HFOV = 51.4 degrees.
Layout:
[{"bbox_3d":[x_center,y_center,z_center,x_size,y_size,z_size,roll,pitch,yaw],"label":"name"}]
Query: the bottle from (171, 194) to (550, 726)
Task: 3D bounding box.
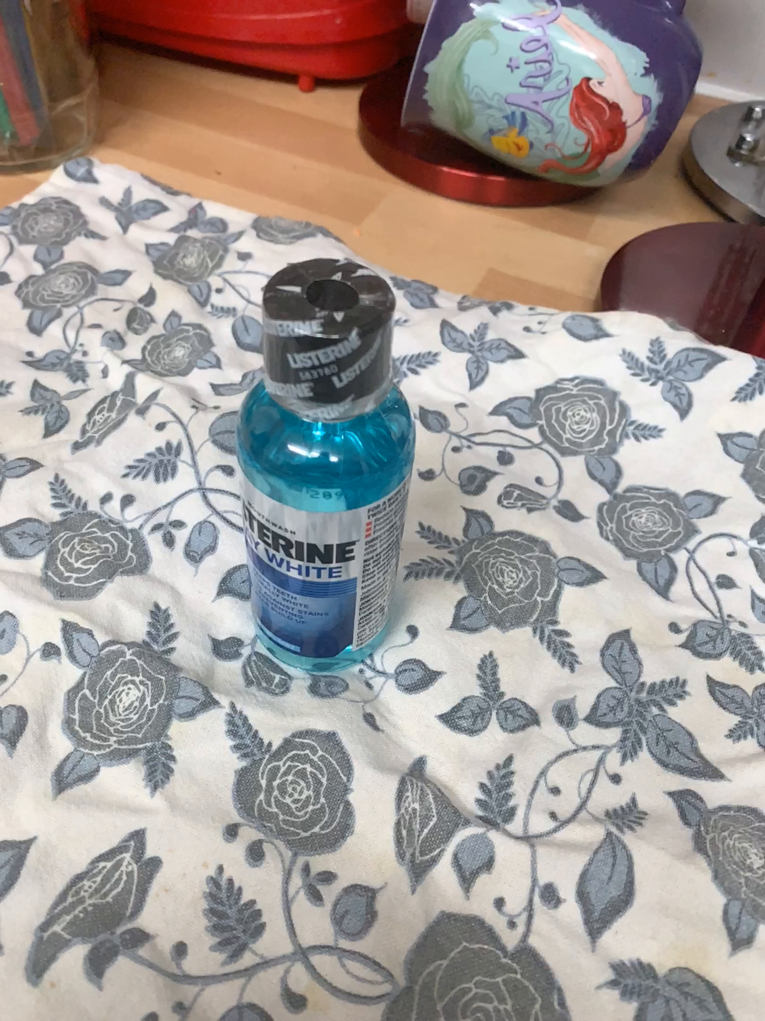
[{"bbox_3d":[-0.008,-0.006,0.189,0.050,0.109,0.050,3,50,-3],"label":"bottle"}]
